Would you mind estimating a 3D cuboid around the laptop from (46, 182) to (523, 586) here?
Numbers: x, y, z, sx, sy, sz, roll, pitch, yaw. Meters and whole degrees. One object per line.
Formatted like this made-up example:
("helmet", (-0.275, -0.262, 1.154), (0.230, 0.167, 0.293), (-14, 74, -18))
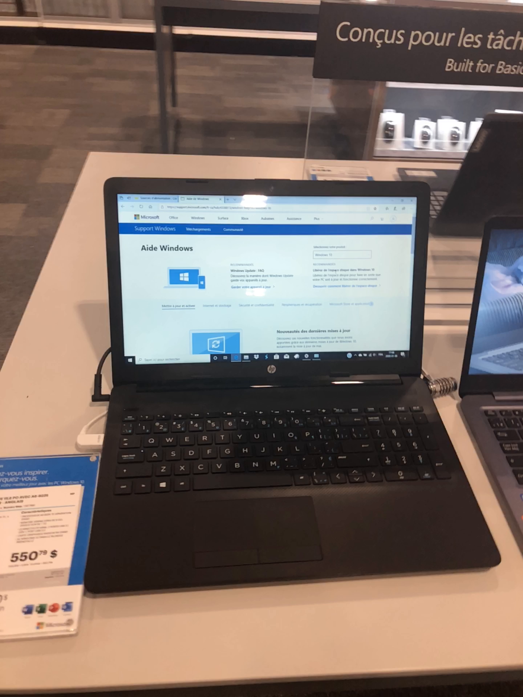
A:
("laptop", (0.022, 0.005, 0.567), (0.356, 0.195, 0.361), (-1, 40, -5))
